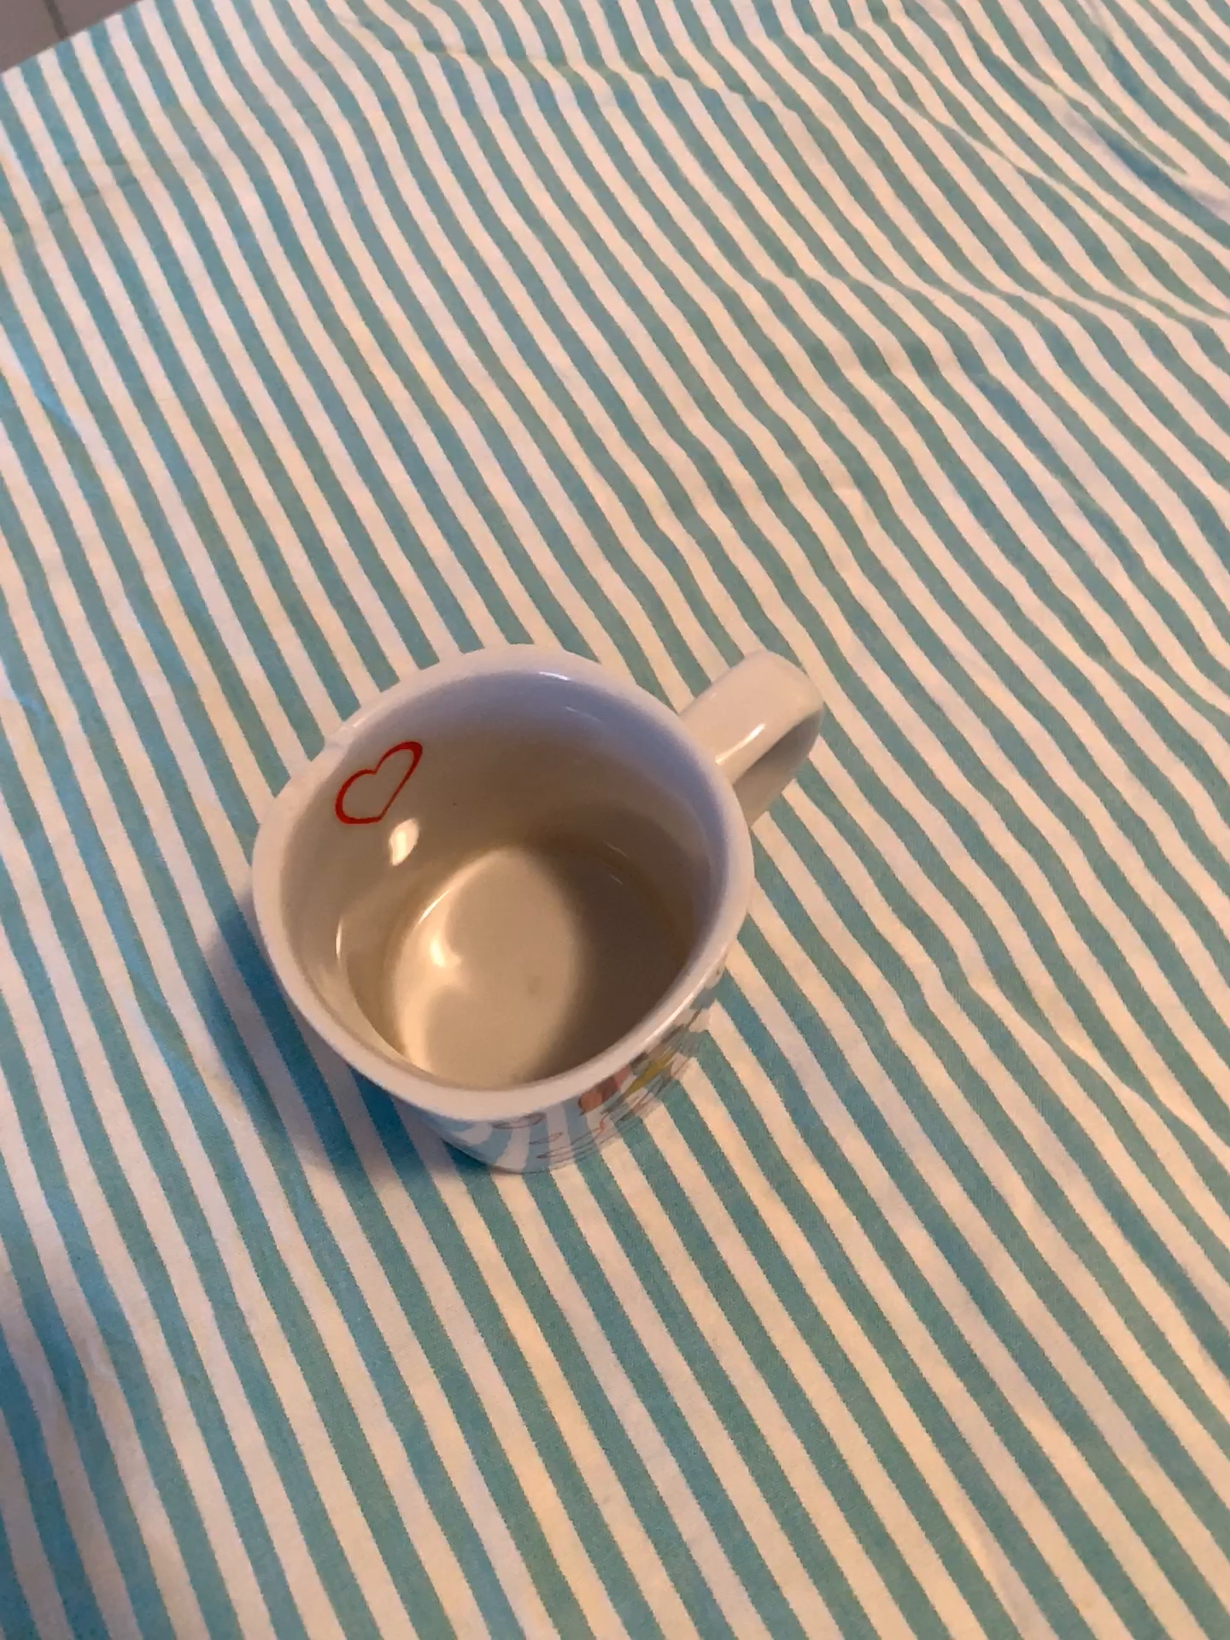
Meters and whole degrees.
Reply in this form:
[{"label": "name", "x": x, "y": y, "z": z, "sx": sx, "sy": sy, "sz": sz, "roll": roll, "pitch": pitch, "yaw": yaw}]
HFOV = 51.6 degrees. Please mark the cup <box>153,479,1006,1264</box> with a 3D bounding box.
[{"label": "cup", "x": -0.005, "y": 0.013, "z": 0.231, "sx": 0.110, "sy": 0.080, "sz": 0.070, "roll": -35, "pitch": 71, "yaw": -13}]
